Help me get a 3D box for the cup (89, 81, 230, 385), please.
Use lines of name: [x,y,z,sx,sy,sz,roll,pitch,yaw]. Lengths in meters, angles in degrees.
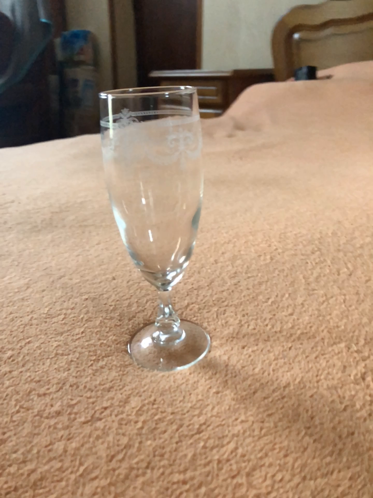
cup: [-0.012,-0.009,0.235,0.060,0.159,0.060,-1,23,0]
